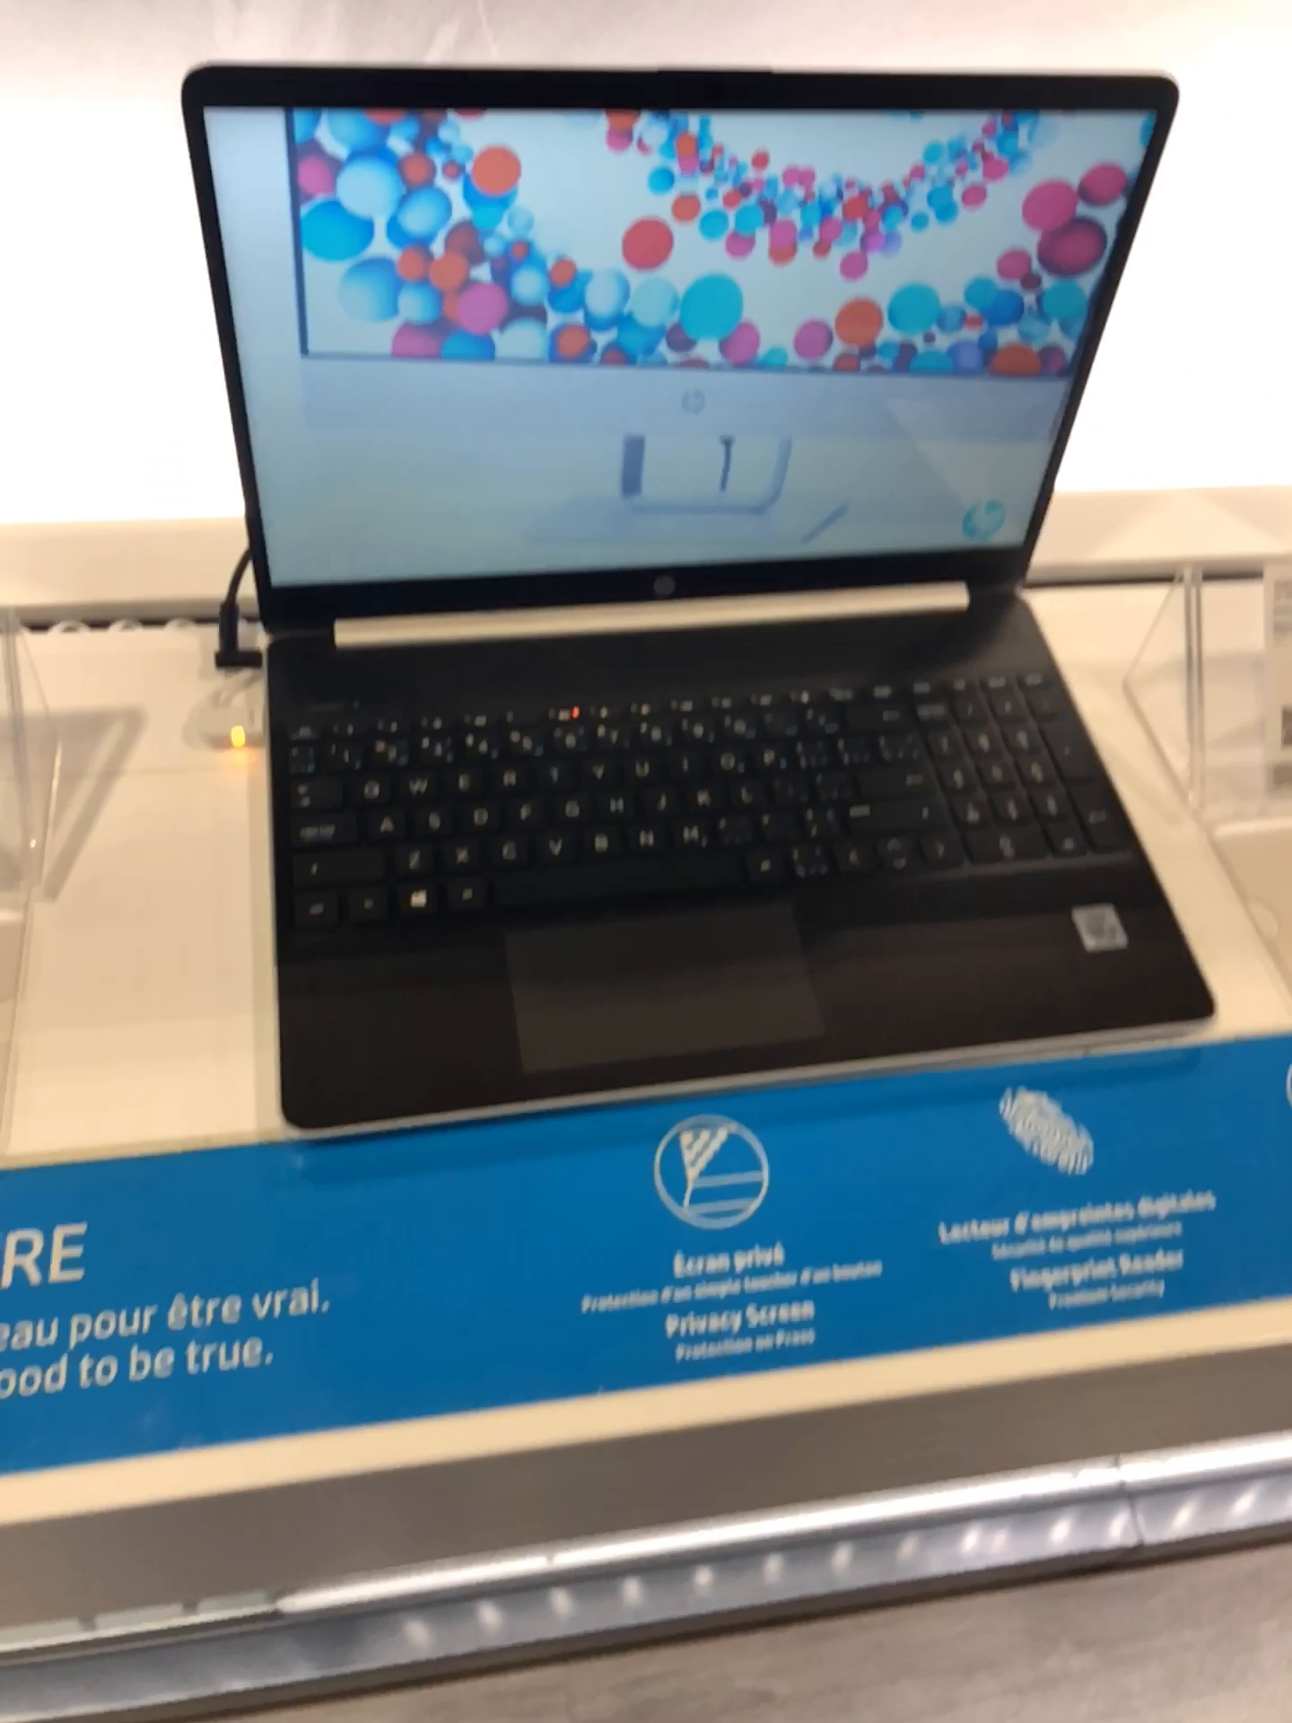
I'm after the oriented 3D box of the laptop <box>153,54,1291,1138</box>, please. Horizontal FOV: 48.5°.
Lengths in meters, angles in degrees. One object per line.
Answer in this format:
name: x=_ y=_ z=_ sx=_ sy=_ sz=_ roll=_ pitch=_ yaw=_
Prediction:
laptop: x=0.032 y=-0.101 z=0.515 sx=0.355 sy=0.221 sz=0.284 roll=-5 pitch=55 yaw=-10
